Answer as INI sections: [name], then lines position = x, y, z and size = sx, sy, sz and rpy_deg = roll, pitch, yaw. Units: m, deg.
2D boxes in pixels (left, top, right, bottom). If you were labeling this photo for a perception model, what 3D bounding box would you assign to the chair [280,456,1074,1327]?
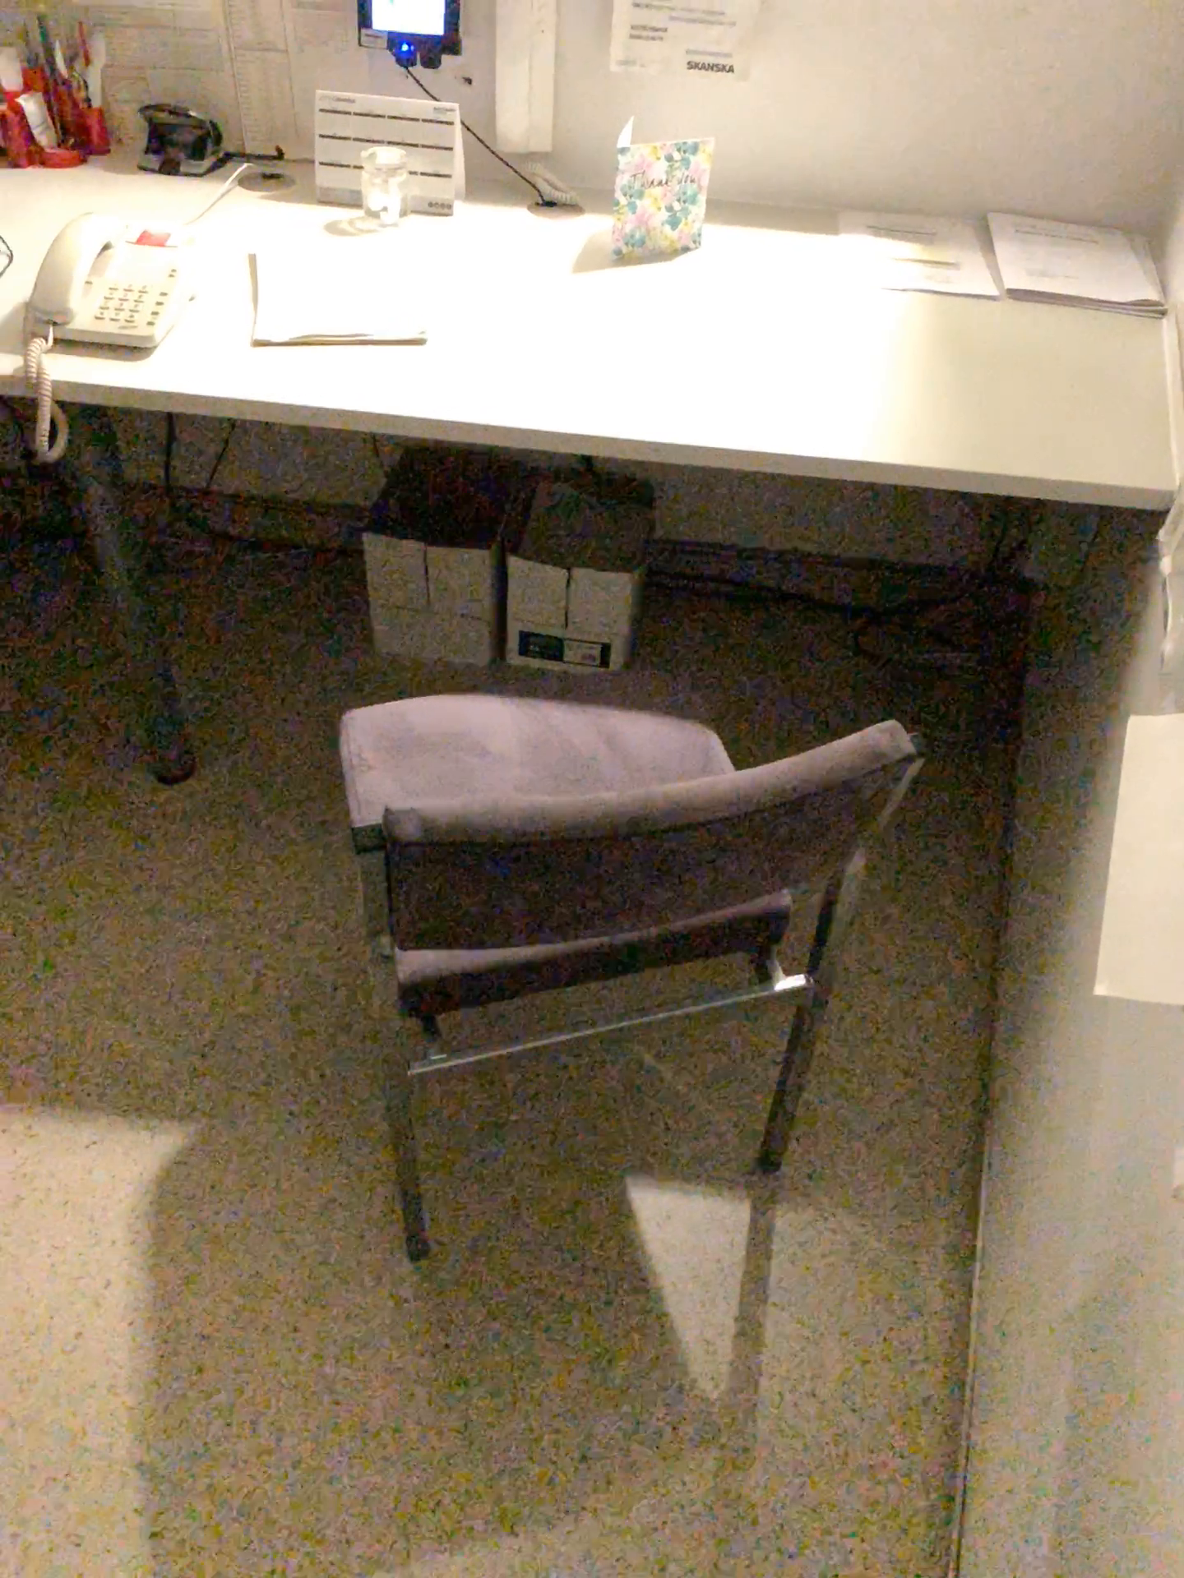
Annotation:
[chair]
position = 0.013, 0.099, 1.292
size = 0.570, 0.664, 0.555
rpy_deg = -7, 44, -12
